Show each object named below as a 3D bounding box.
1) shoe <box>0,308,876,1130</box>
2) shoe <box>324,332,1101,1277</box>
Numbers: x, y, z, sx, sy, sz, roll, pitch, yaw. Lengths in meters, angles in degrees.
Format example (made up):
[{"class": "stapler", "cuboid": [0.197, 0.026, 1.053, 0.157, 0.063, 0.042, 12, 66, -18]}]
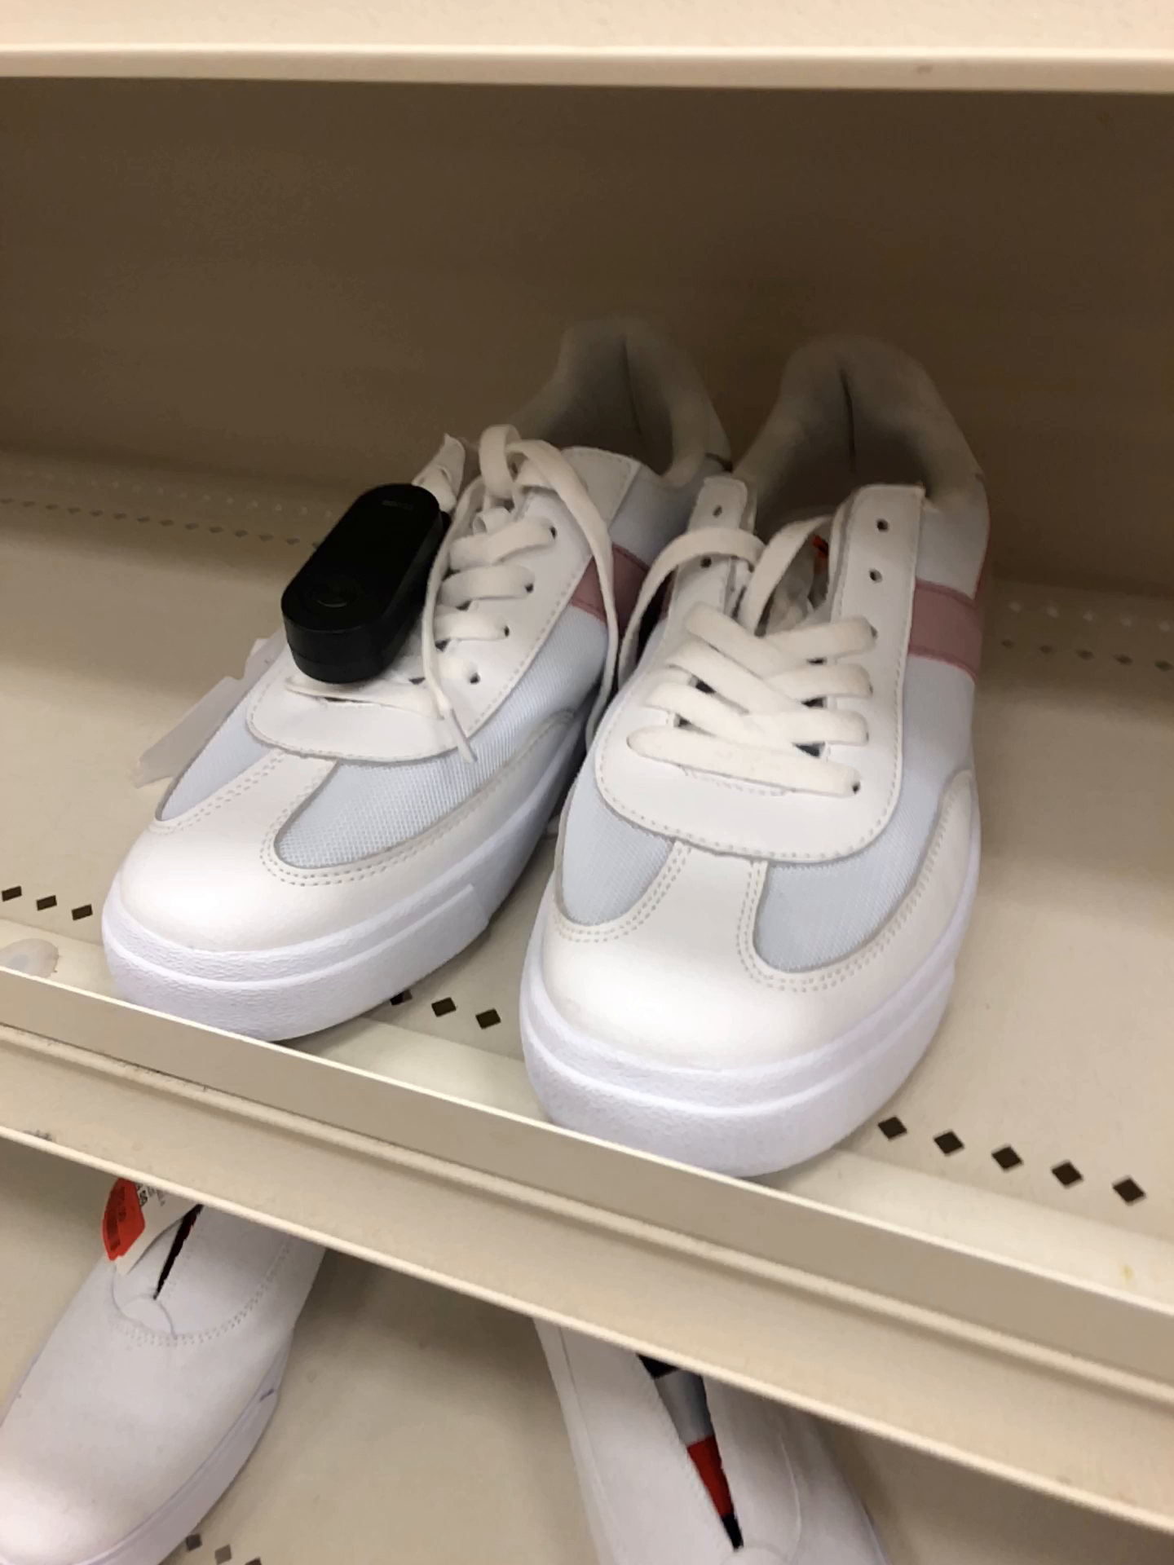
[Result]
[{"class": "shoe", "cuboid": [-0.023, -0.071, 0.410, 0.120, 0.119, 0.392, 13, 26, 22]}, {"class": "shoe", "cuboid": [0.078, -0.053, 0.390, 0.120, 0.119, 0.393, 10, 26, 18]}]
